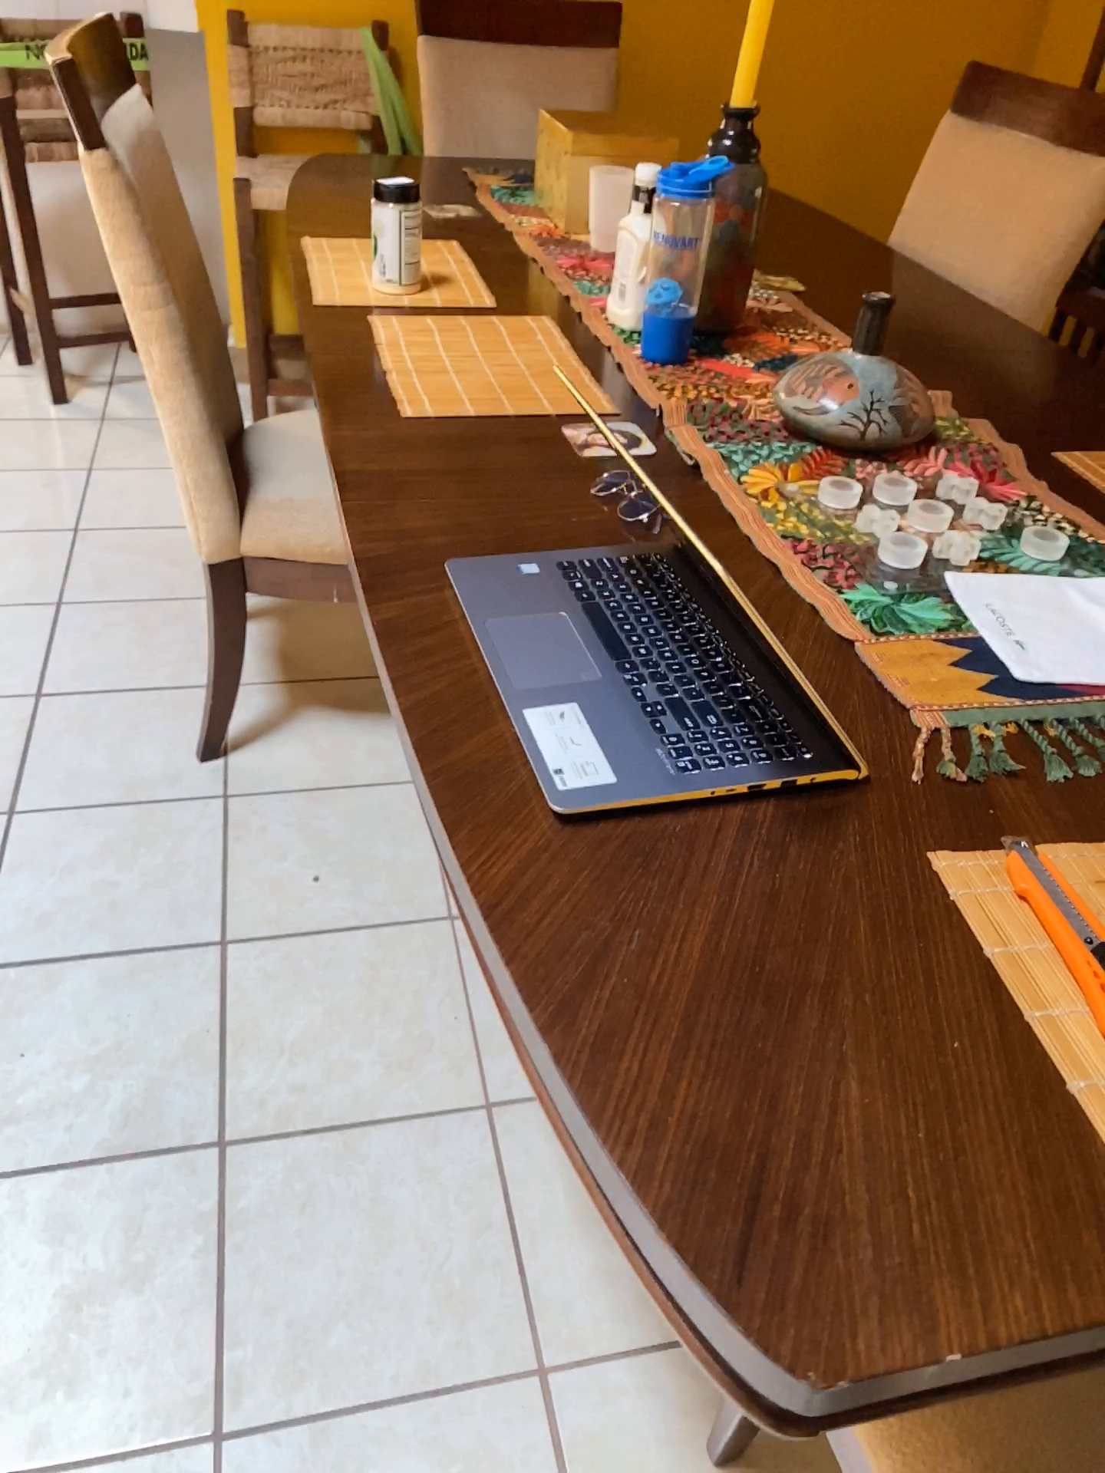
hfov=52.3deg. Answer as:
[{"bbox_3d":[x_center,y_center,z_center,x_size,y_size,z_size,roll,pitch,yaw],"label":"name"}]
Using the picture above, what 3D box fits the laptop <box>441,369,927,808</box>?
[{"bbox_3d":[0.074,-0.147,0.932,0.250,0.181,0.378,-7,38,-16],"label":"laptop"}]
